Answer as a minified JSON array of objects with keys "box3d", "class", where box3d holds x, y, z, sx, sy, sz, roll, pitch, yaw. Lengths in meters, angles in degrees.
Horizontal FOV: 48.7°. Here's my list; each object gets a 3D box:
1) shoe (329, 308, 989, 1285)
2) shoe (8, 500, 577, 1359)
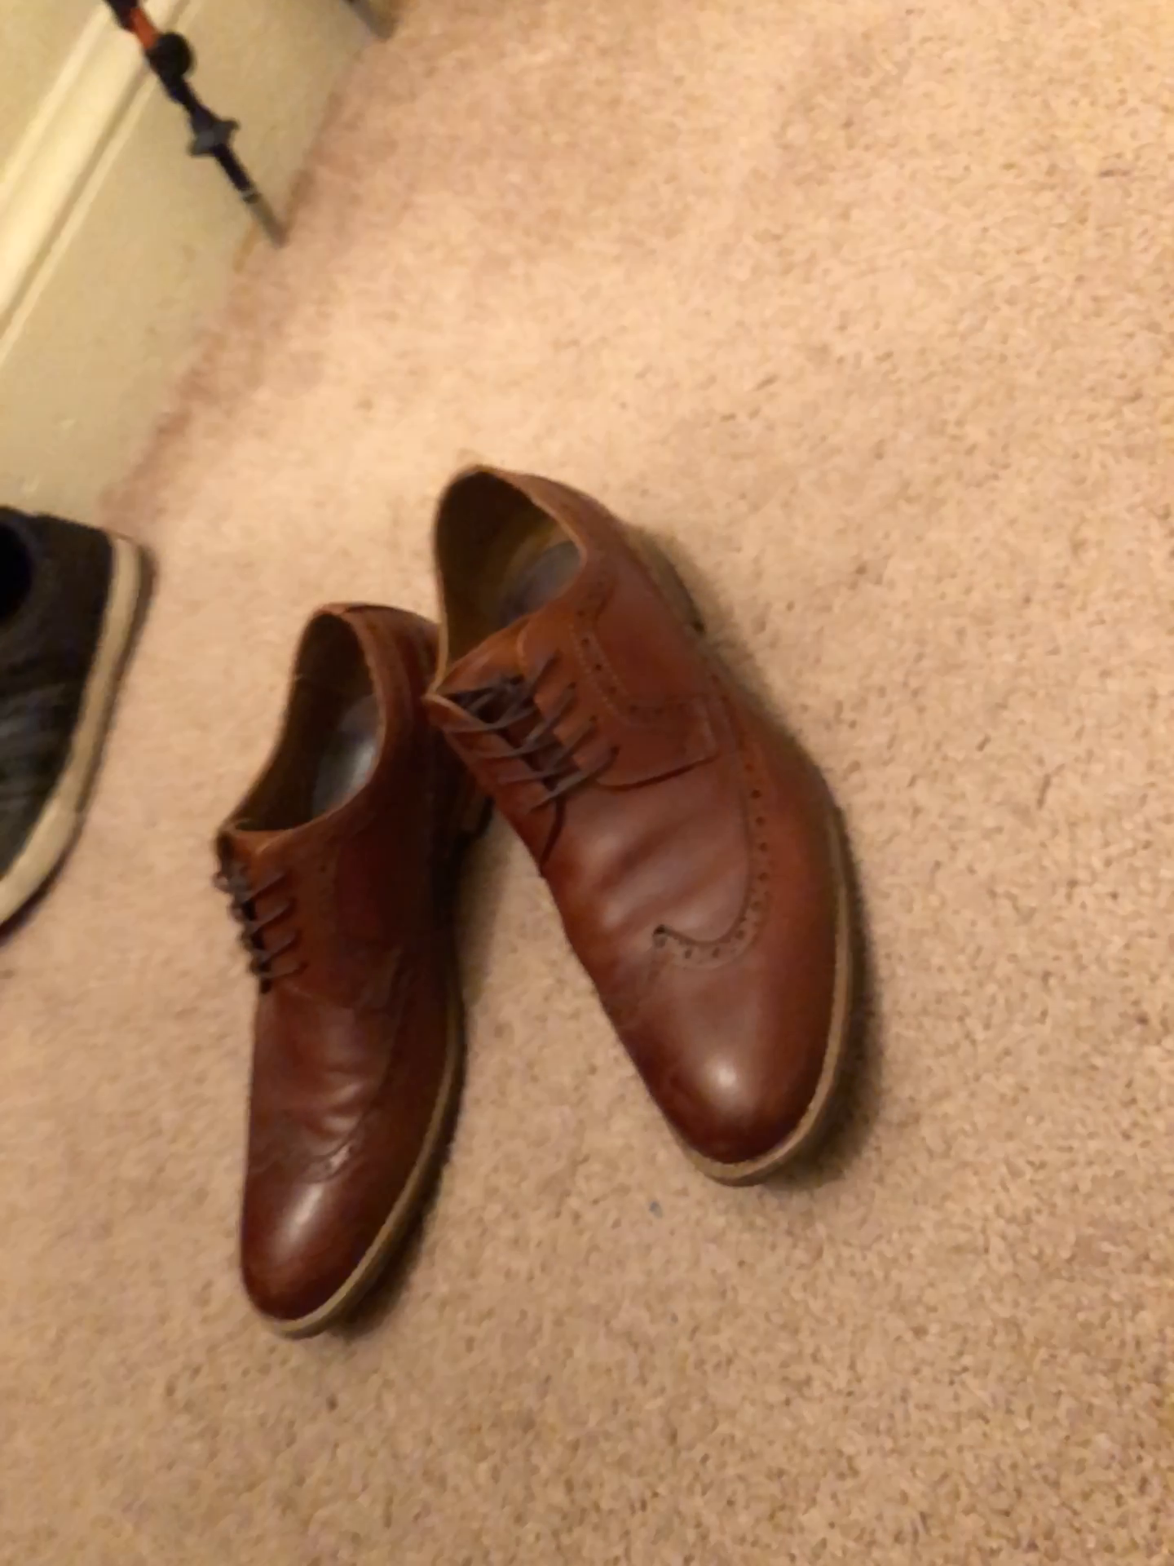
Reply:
[{"box3d":[0.007,-0.004,0.458,0.115,0.115,0.311,-33,52,25],"class":"shoe"},{"box3d":[-0.111,0.058,0.538,0.115,0.115,0.311,-4,68,39],"class":"shoe"}]
